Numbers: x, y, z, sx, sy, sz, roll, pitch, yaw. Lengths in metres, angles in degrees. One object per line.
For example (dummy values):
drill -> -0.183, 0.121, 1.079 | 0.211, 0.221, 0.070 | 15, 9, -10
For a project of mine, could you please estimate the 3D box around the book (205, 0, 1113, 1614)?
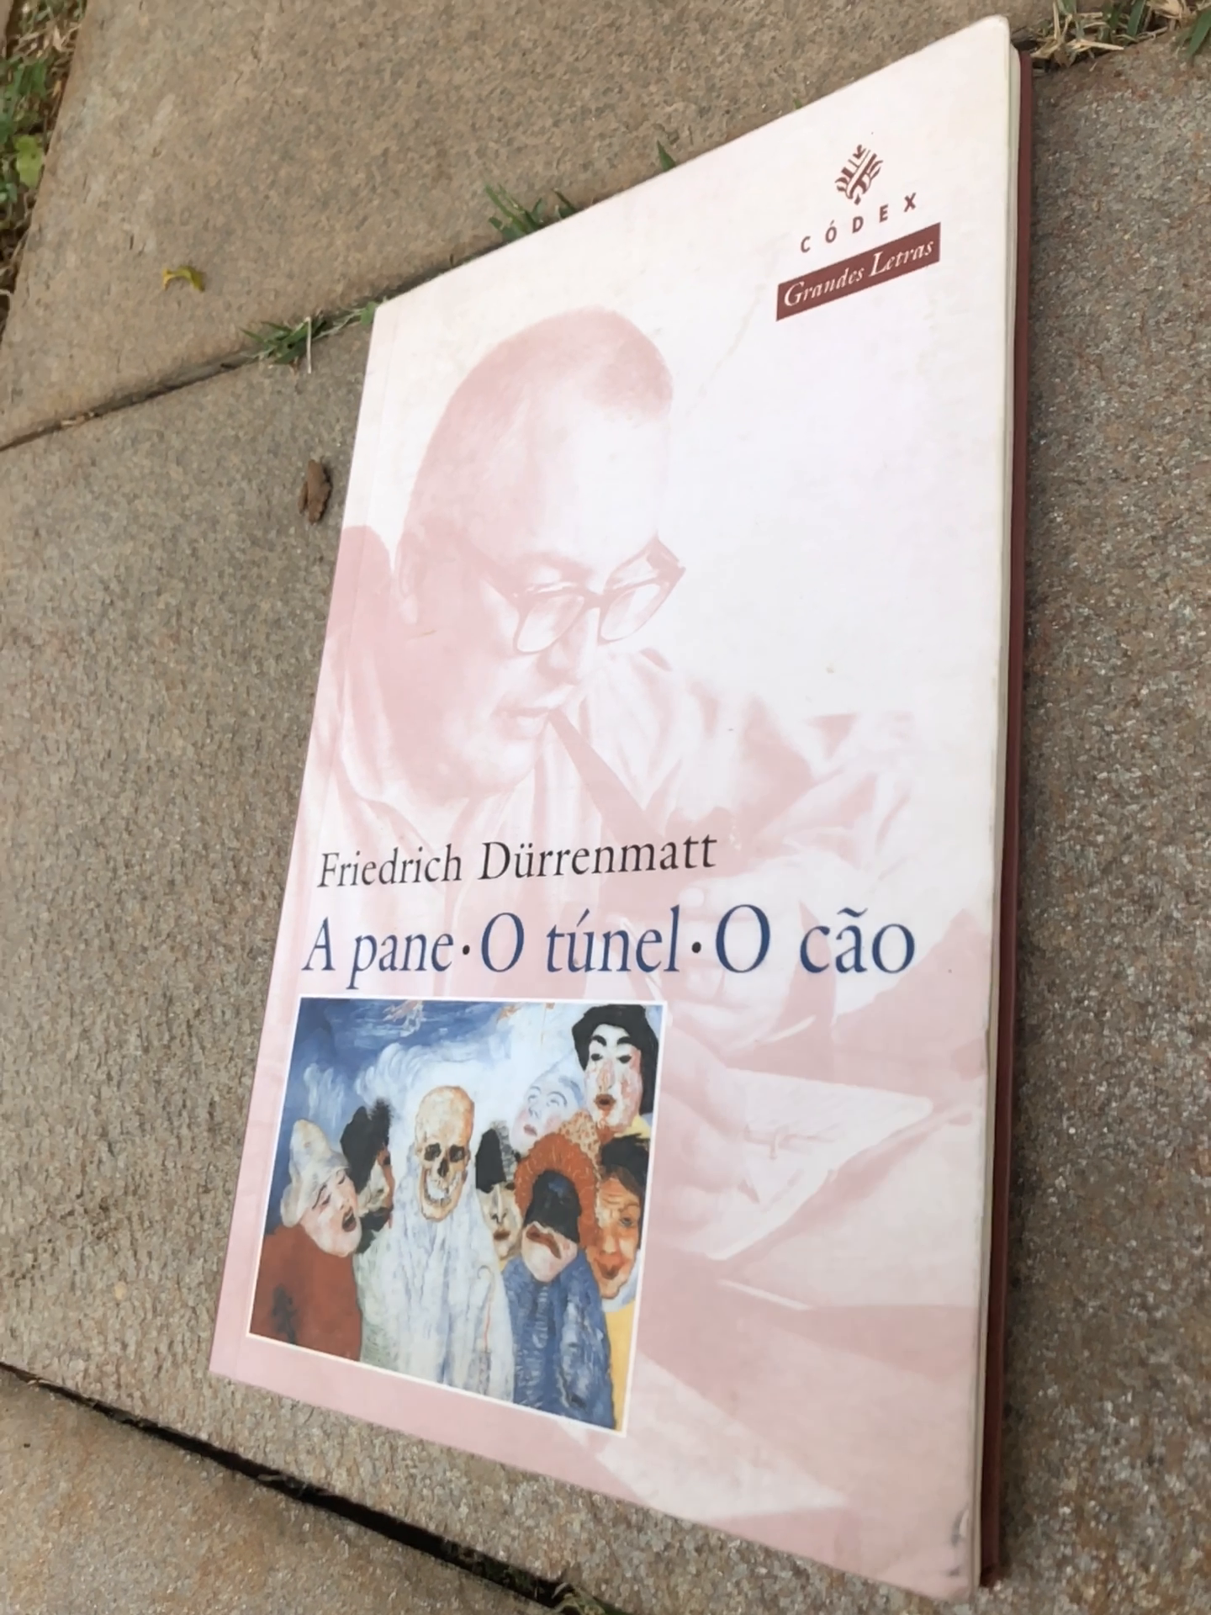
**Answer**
book -> 0.003, -0.005, 0.206 | 0.141, 0.015, 0.199 | -5, 73, 39
